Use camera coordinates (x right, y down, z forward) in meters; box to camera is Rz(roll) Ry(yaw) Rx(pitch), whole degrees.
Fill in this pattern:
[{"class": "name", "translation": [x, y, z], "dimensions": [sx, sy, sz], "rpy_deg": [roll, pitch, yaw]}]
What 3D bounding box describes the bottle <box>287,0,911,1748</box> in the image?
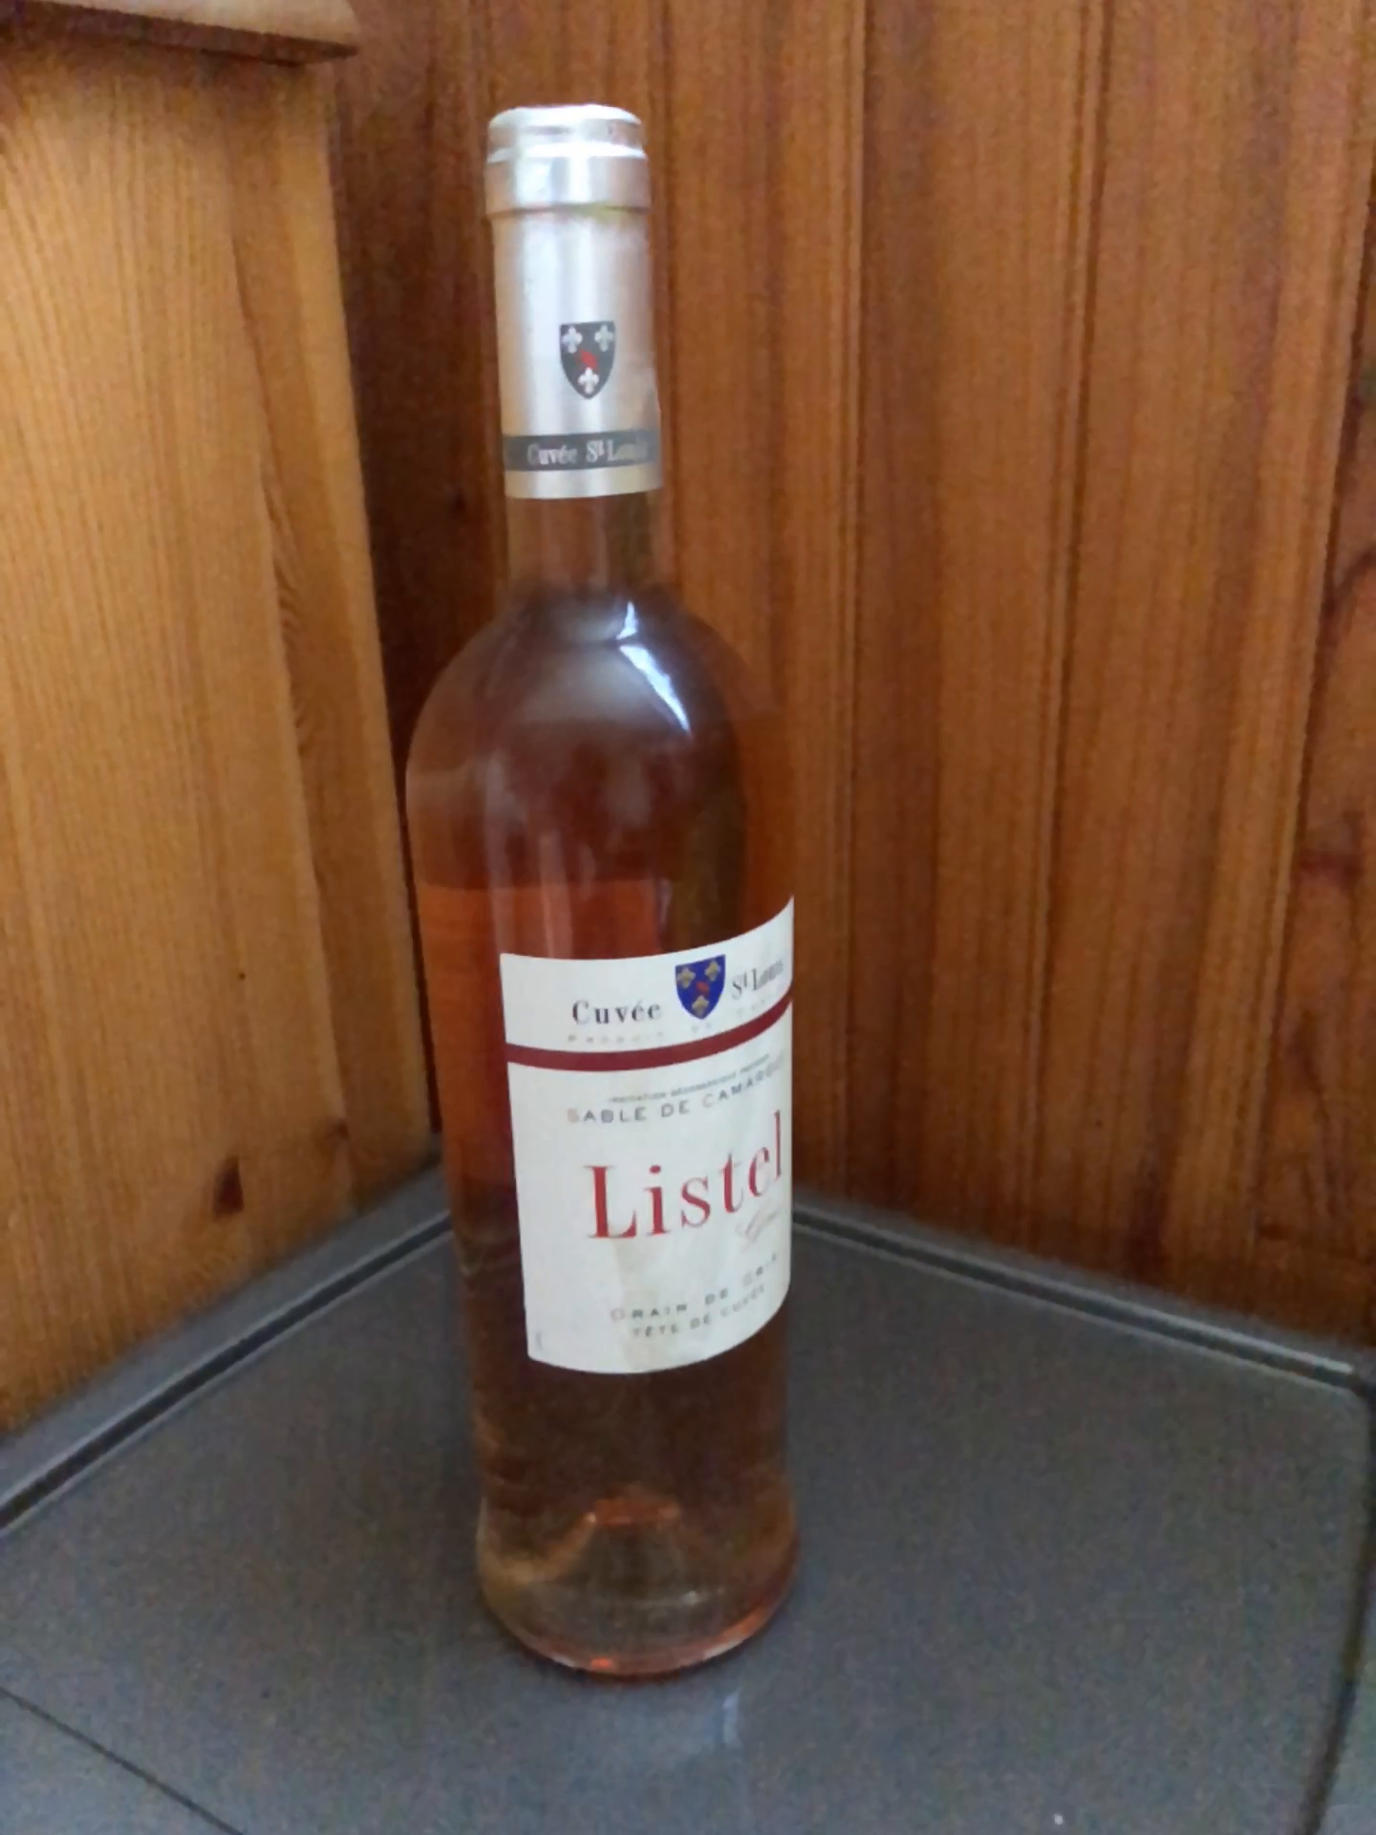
[{"class": "bottle", "translation": [-0.014, 0.002, 0.314], "dimensions": [0.080, 0.319, 0.080], "rpy_deg": [-1, 19, 0]}]
